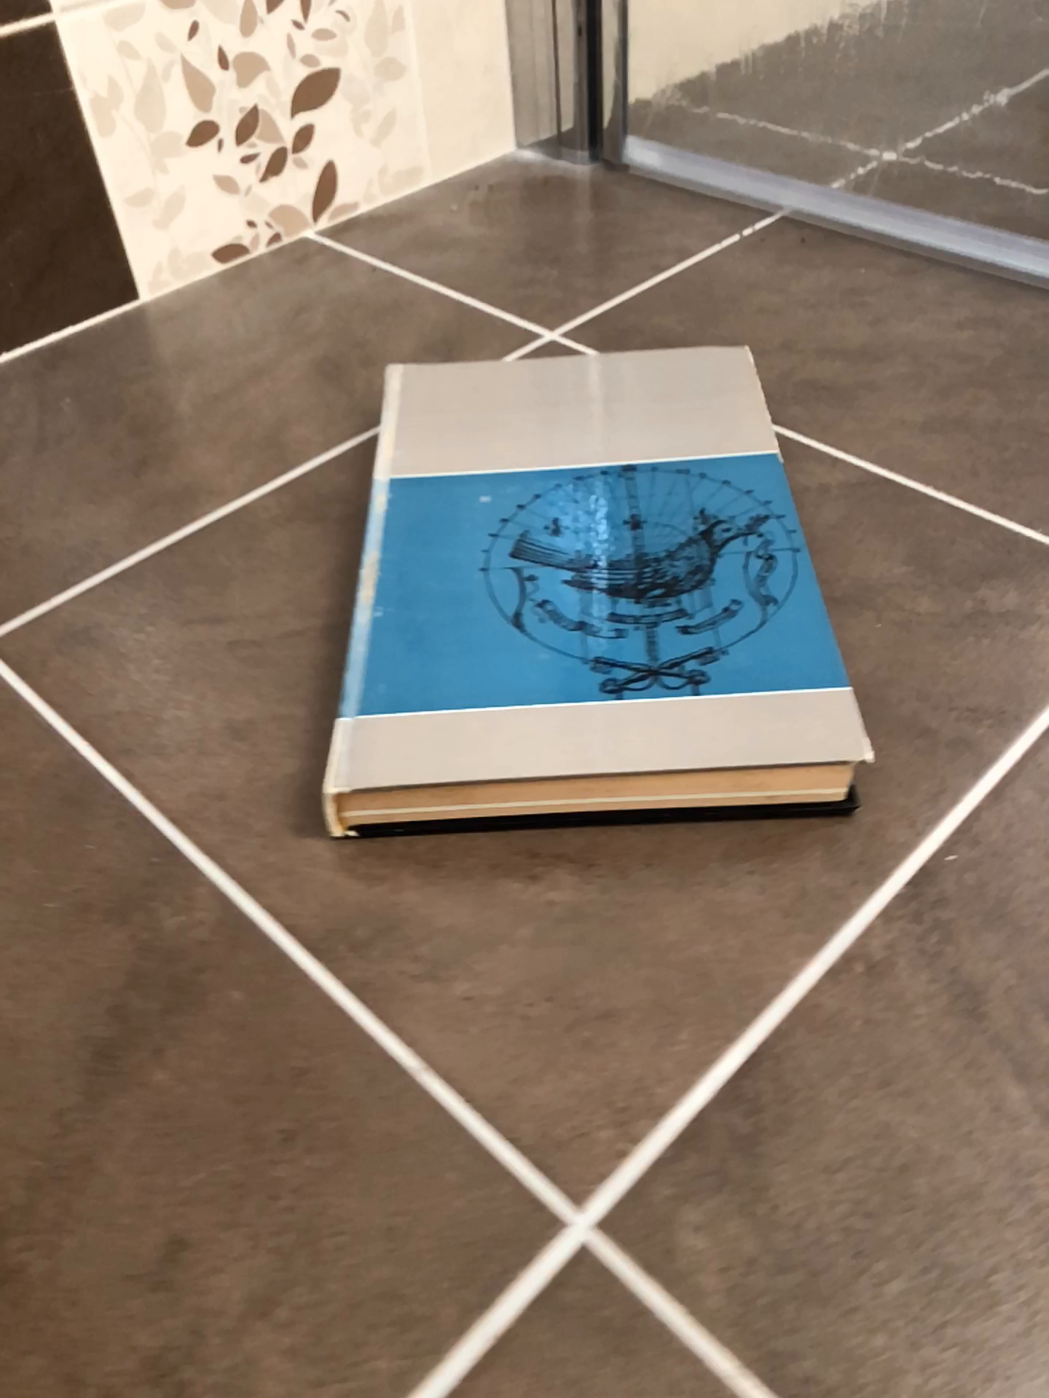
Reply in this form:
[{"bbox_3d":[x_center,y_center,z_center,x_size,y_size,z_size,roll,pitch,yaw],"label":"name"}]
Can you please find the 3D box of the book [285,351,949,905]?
[{"bbox_3d":[0.030,-0.052,0.490,0.210,0.040,0.302,-3,43,3],"label":"book"}]
